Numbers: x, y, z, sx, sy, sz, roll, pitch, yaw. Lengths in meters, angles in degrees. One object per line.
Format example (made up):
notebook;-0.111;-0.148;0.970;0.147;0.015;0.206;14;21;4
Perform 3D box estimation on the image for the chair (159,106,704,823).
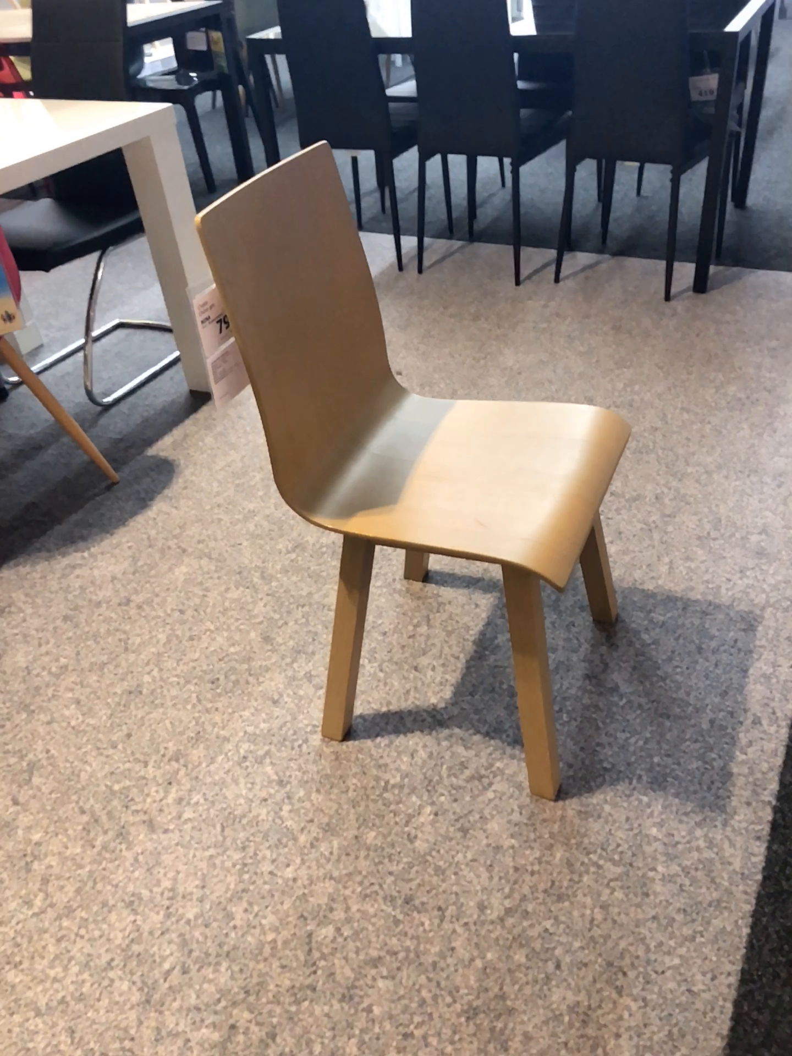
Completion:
chair;0.109;-0.103;1.266;0.490;0.835;0.524;10;40;20
